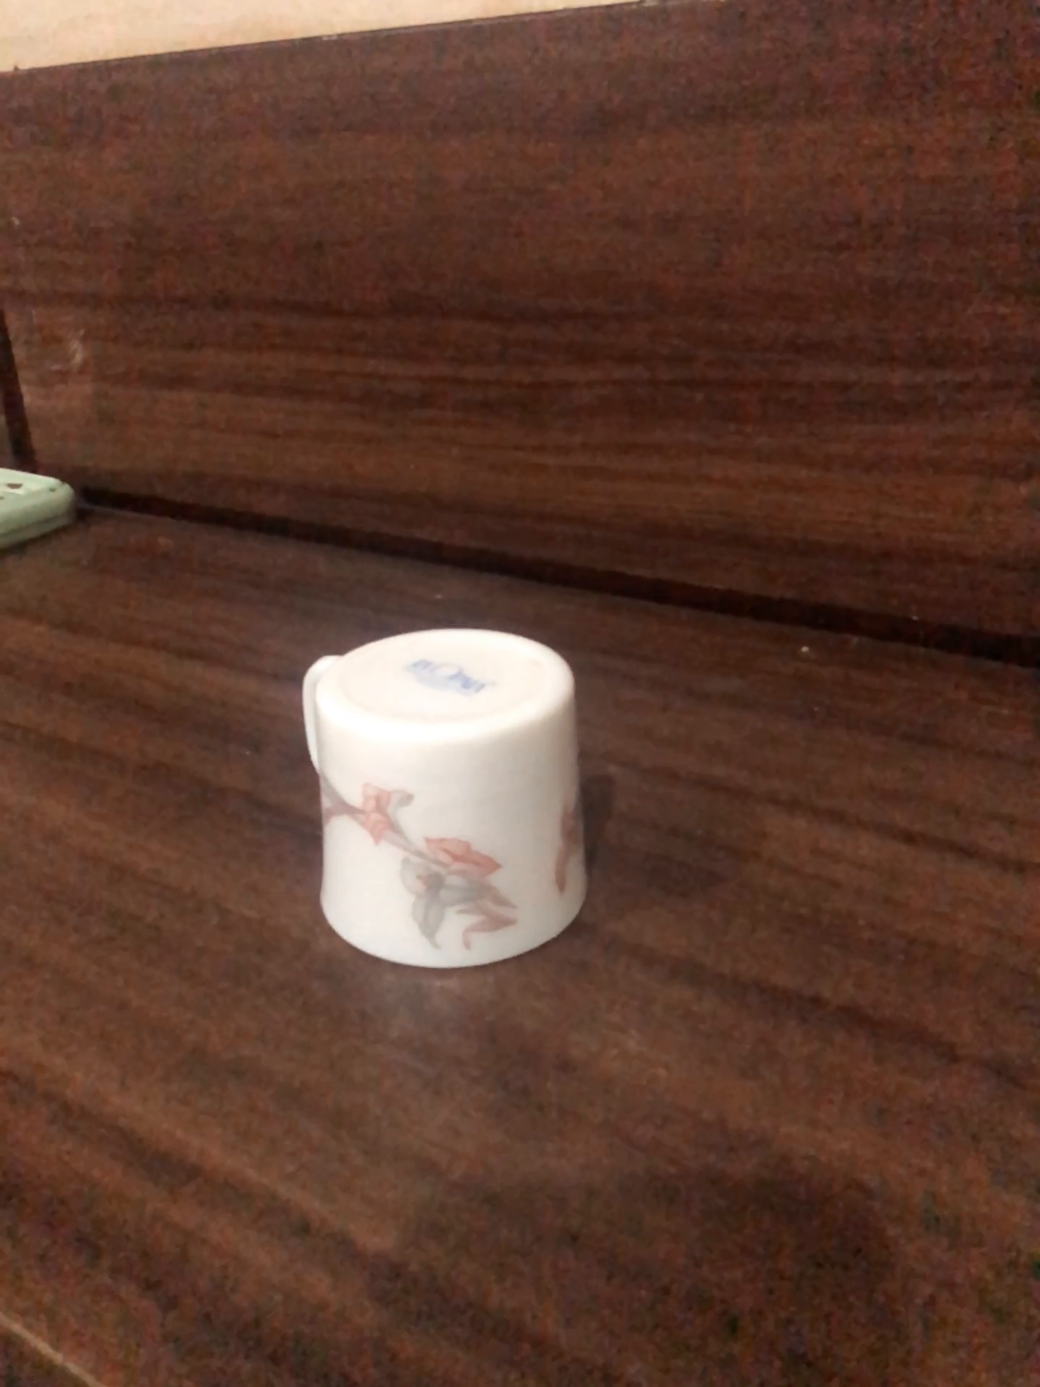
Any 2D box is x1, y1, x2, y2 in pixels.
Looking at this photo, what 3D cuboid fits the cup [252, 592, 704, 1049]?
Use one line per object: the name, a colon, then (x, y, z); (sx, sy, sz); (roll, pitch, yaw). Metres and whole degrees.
cup: (-0.009, 0.025, 0.288); (0.090, 0.070, 0.060); (17, 34, 37)
